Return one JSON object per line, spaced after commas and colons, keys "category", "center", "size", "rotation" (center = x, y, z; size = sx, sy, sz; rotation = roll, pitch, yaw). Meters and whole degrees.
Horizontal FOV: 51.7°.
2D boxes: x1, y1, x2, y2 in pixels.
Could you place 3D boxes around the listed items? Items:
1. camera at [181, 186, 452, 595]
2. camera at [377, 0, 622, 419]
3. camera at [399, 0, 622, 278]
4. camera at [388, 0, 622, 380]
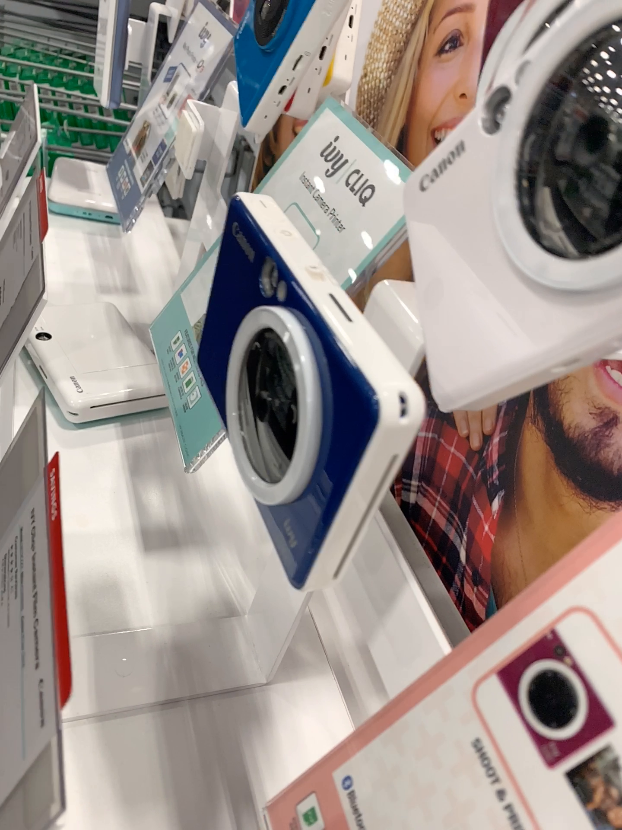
{"category": "camera", "center": [-0.010, -0.015, 0.210], "size": [0.028, 0.070, 0.120], "rotation": [-3, 41, -27]}
{"category": "camera", "center": [0.063, -0.053, 0.154], "size": [0.028, 0.120, 0.078], "rotation": [2, 73, -26]}
{"category": "camera", "center": [0.069, -0.106, 0.227], "size": [0.028, 0.110, 0.078], "rotation": [-4, 14, -27]}
{"category": "camera", "center": [0.072, -0.082, 0.192], "size": [0.028, 0.119, 0.078], "rotation": [-2, 41, -27]}
